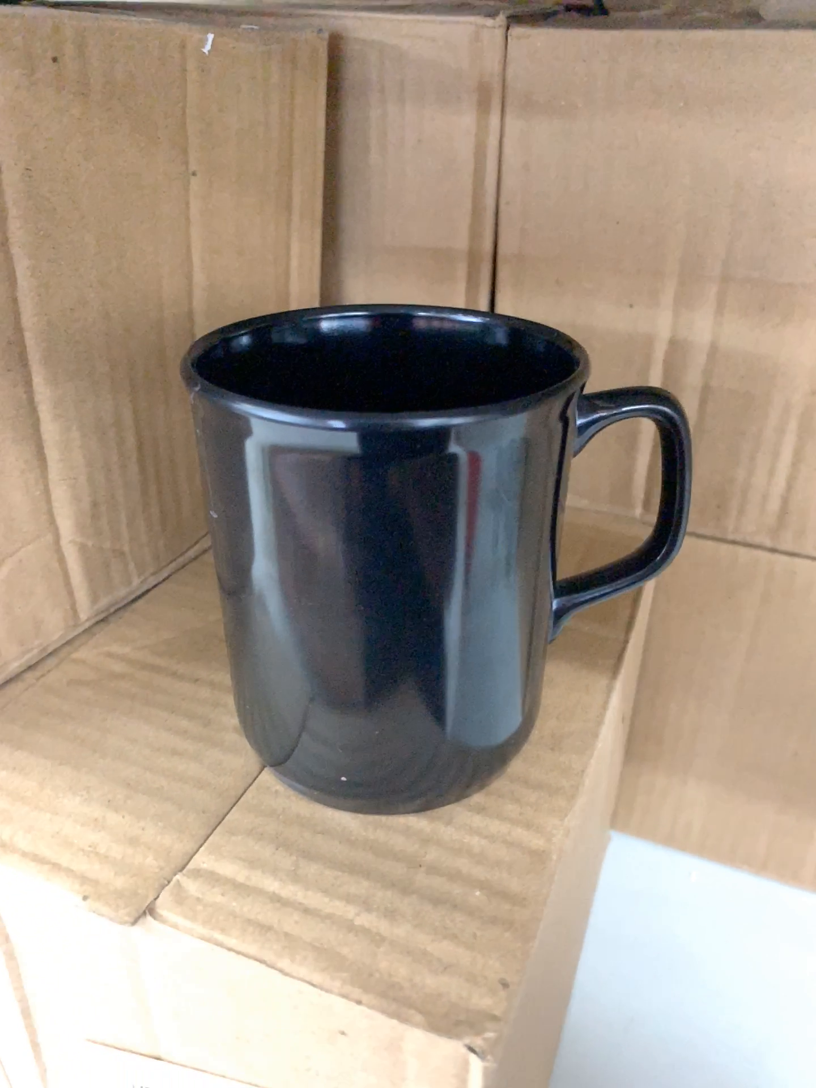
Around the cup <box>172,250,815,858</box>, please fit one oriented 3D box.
[{"bbox_3d":[0.011,-0.003,0.175,0.100,0.089,0.071,-6,31,-10],"label":"cup"}]
